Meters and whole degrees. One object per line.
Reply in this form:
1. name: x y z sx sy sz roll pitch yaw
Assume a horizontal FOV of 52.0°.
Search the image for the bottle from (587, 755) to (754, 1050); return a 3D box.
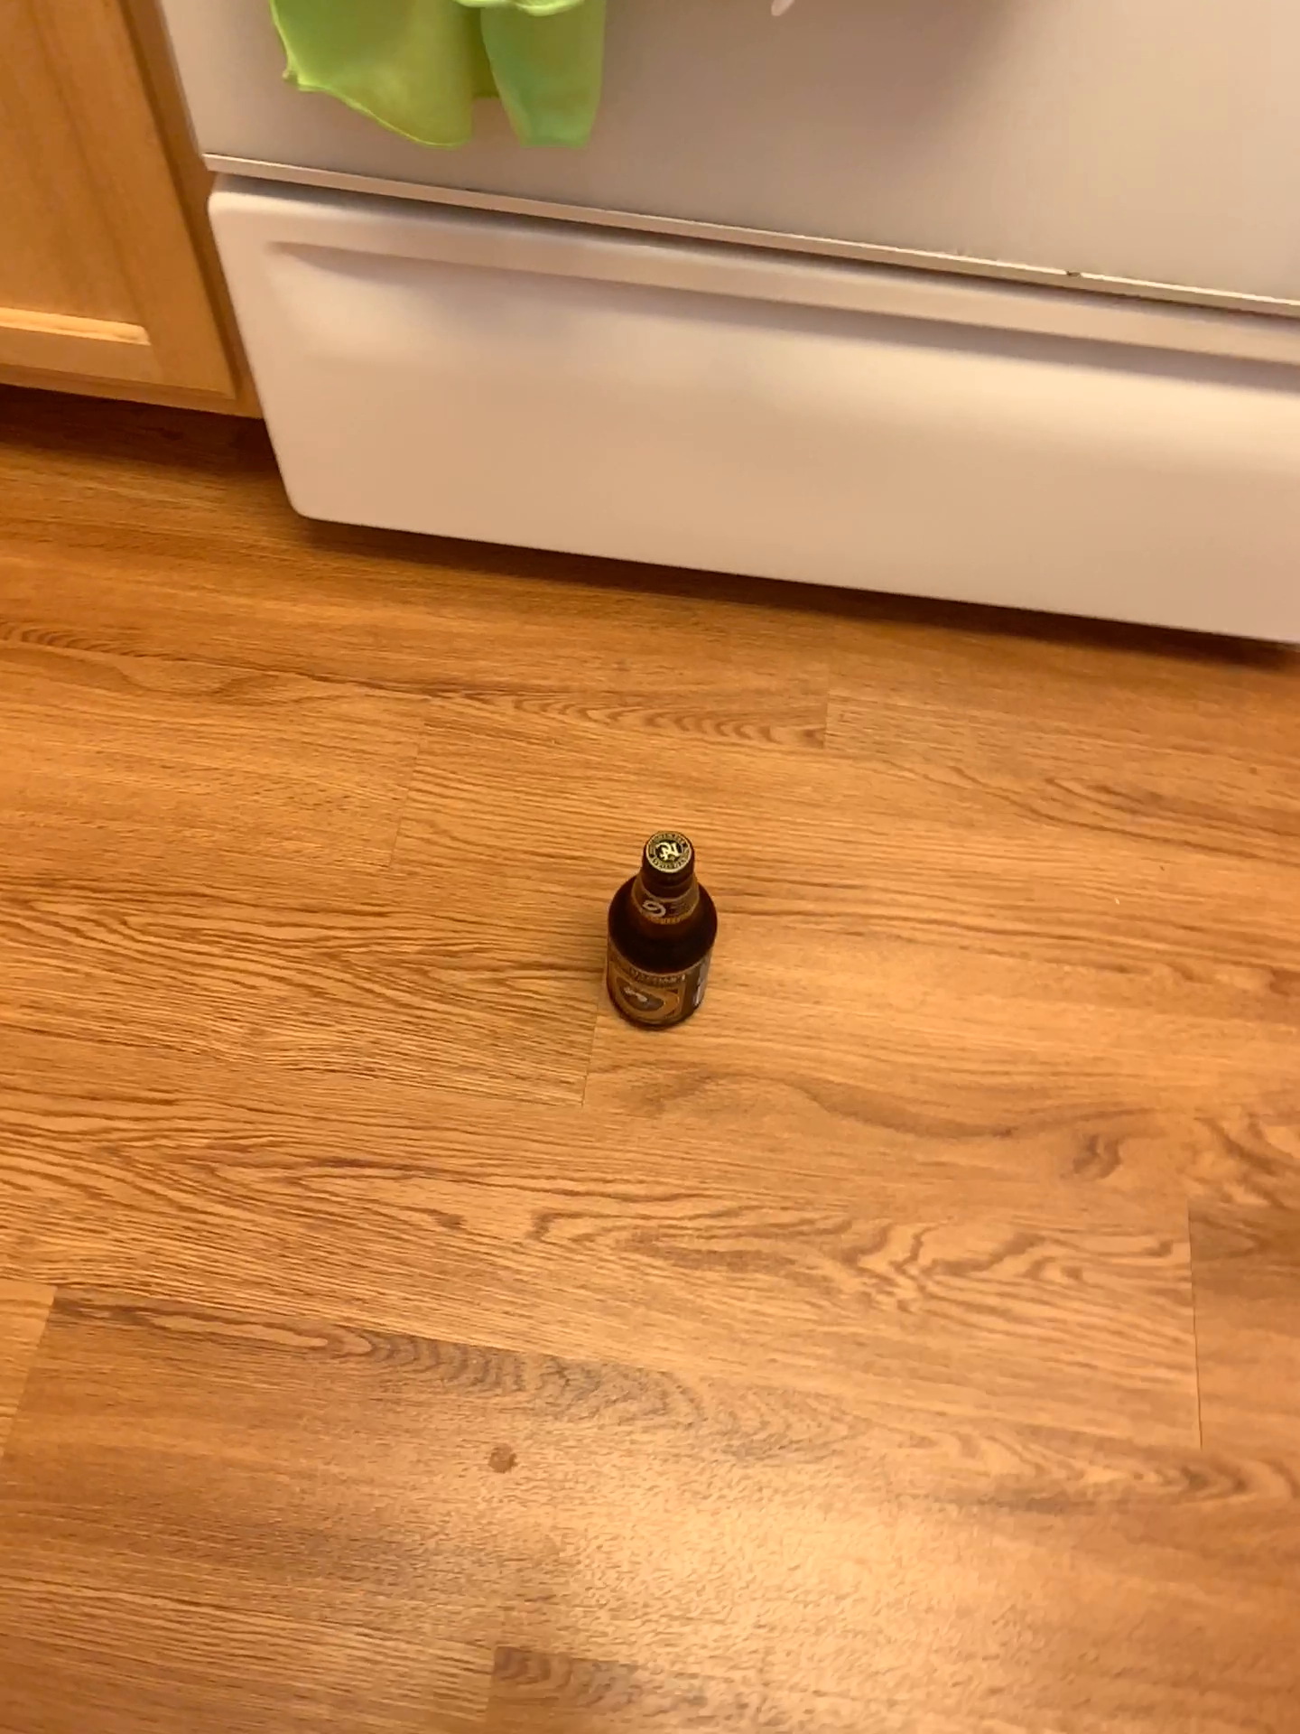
1. bottle: 0.006 0.028 0.737 0.060 0.209 0.060 1 63 -2
